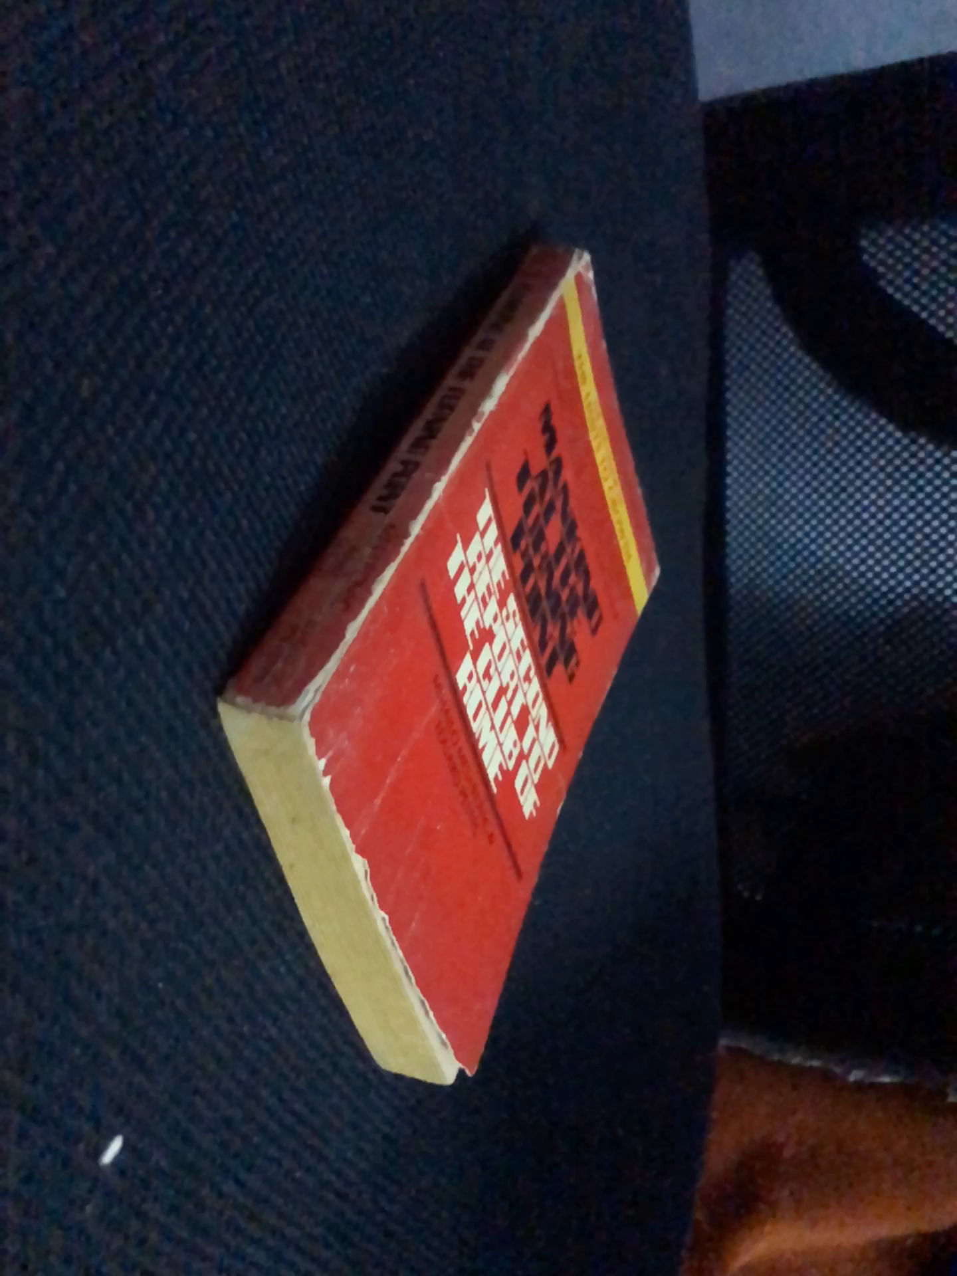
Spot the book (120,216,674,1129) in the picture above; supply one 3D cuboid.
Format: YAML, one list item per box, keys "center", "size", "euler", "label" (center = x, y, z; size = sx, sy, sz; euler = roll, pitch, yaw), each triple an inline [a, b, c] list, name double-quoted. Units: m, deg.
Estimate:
- center: [0.005, -0.005, 0.259]
  size: [0.195, 0.025, 0.117]
  euler: [-63, 144, -43]
  label: "book"
